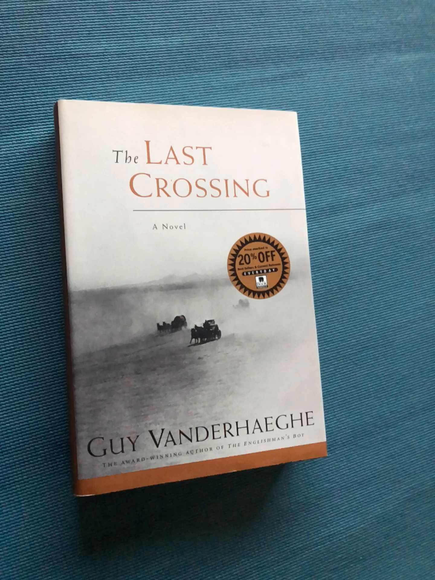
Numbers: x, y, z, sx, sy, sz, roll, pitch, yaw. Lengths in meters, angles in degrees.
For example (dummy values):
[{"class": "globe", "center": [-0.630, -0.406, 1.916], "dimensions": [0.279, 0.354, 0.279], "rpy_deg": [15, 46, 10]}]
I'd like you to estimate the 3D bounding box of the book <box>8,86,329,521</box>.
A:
[{"class": "book", "center": [-0.029, 0.000, 0.298], "dimensions": [0.170, 0.040, 0.230], "rpy_deg": [-4, 85, -17]}]
